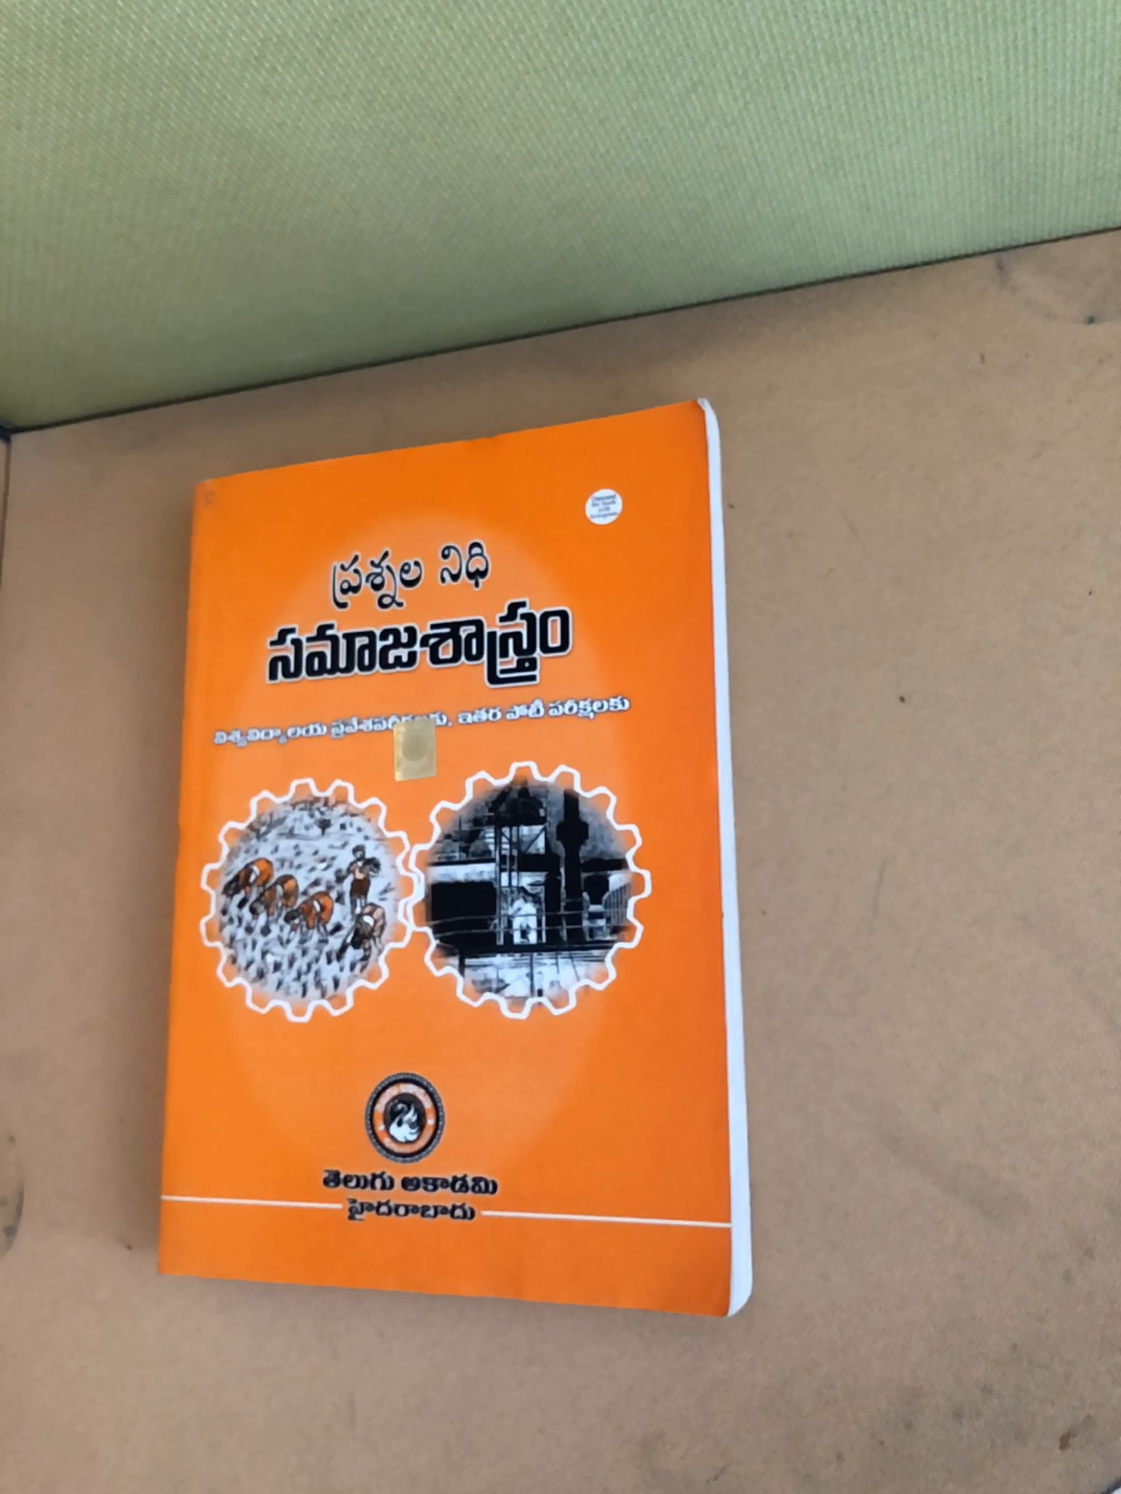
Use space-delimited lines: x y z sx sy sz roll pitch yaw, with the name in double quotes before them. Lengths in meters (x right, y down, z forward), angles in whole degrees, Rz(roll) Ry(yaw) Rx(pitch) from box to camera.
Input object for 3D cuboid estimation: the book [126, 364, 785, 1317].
"book" -0.038 0.029 0.433 0.210 0.050 0.290 -4 77 18
